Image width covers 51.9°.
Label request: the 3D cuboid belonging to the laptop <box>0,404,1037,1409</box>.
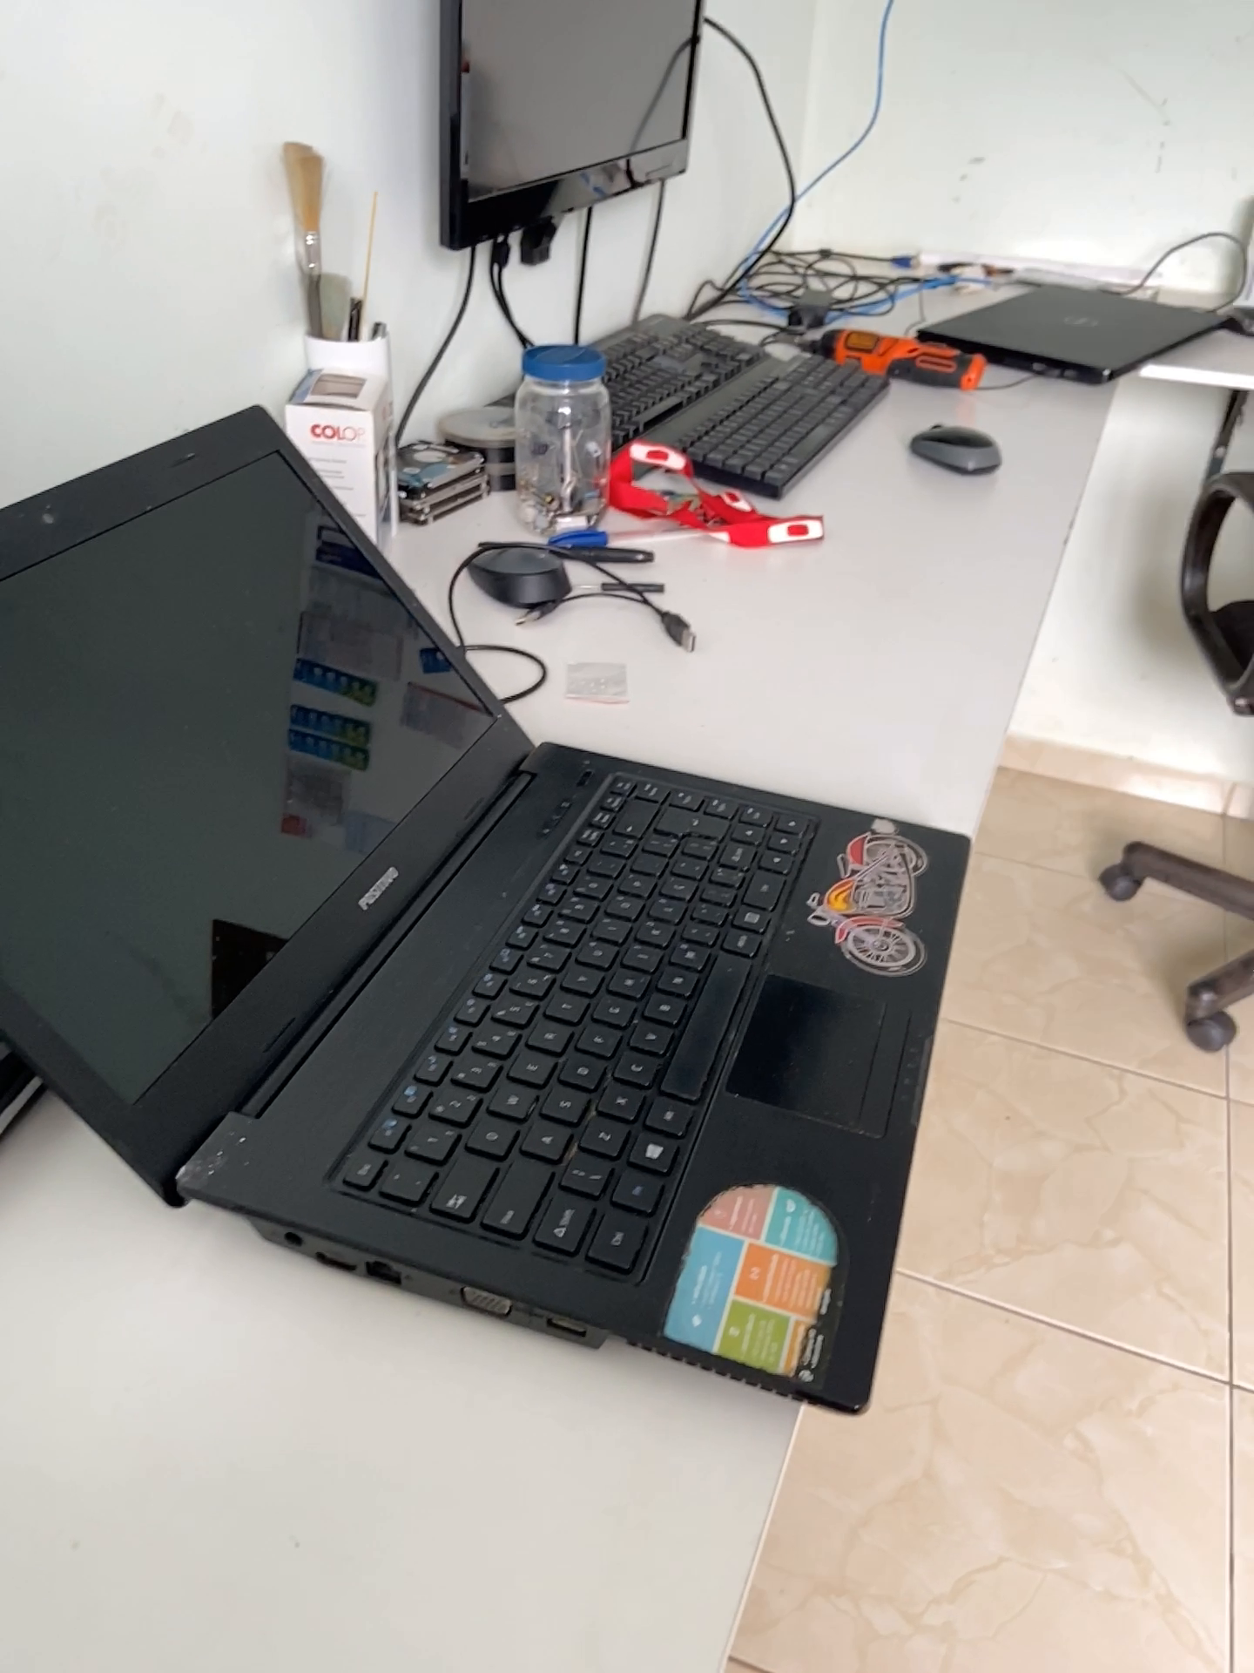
[{"bbox_3d":[-0.062,-0.026,0.516,0.392,0.162,0.336,13,34,14],"label":"laptop"}]
